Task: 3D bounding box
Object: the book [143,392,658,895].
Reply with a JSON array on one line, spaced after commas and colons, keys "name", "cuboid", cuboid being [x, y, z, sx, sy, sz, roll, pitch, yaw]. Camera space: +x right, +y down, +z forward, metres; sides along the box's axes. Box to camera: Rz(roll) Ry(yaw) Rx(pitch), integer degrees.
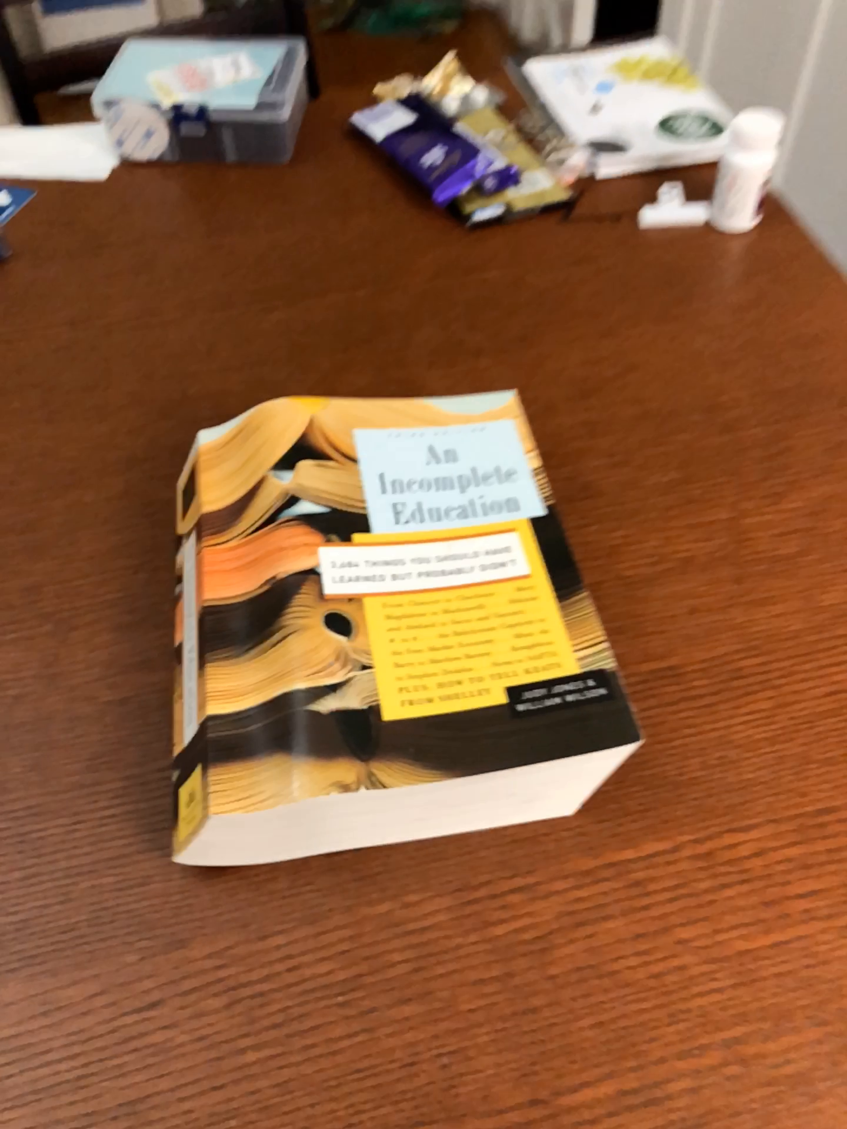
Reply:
[{"name": "book", "cuboid": [-0.030, 0.019, 0.479, 0.210, 0.060, 0.251, -4, 51, -13]}]
